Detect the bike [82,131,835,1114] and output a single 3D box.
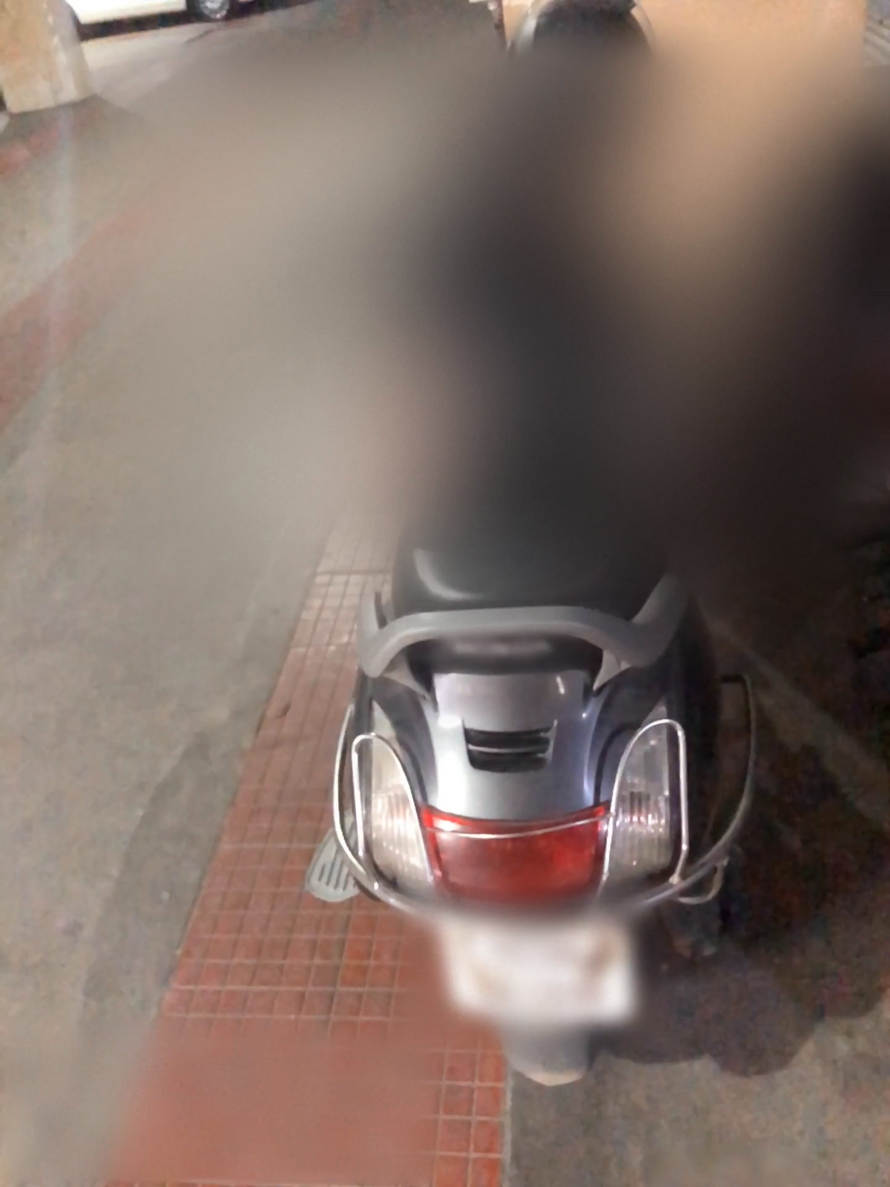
[{"bbox_3d":[0.062,-0.102,1.684,0.594,0.988,1.502,-7,34,5],"label":"bike"}]
